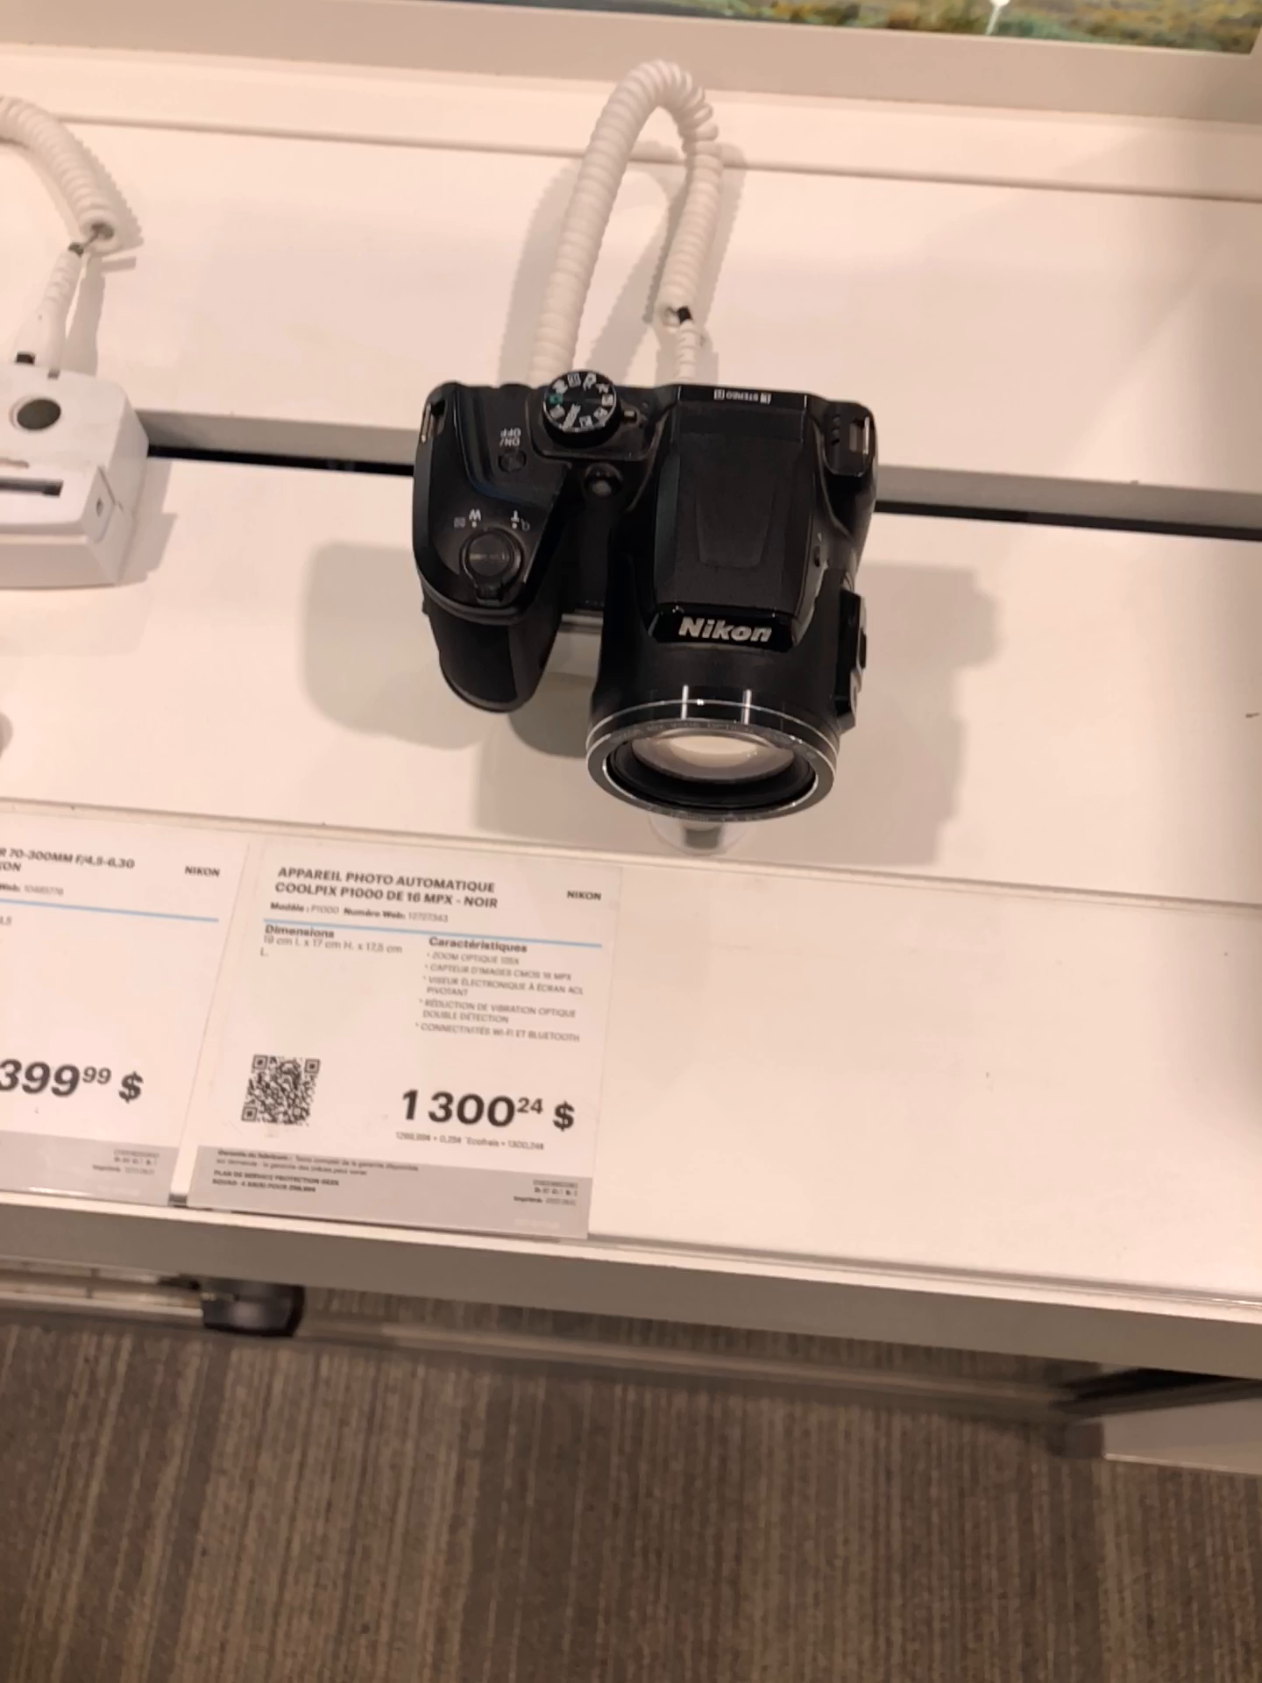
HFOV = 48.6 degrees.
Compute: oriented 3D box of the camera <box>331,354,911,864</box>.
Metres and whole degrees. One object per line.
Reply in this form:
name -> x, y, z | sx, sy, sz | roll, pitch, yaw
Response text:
camera -> 0.001, -0.053, 0.332 | 0.117, 0.068, 0.091 | 3, 65, 2
